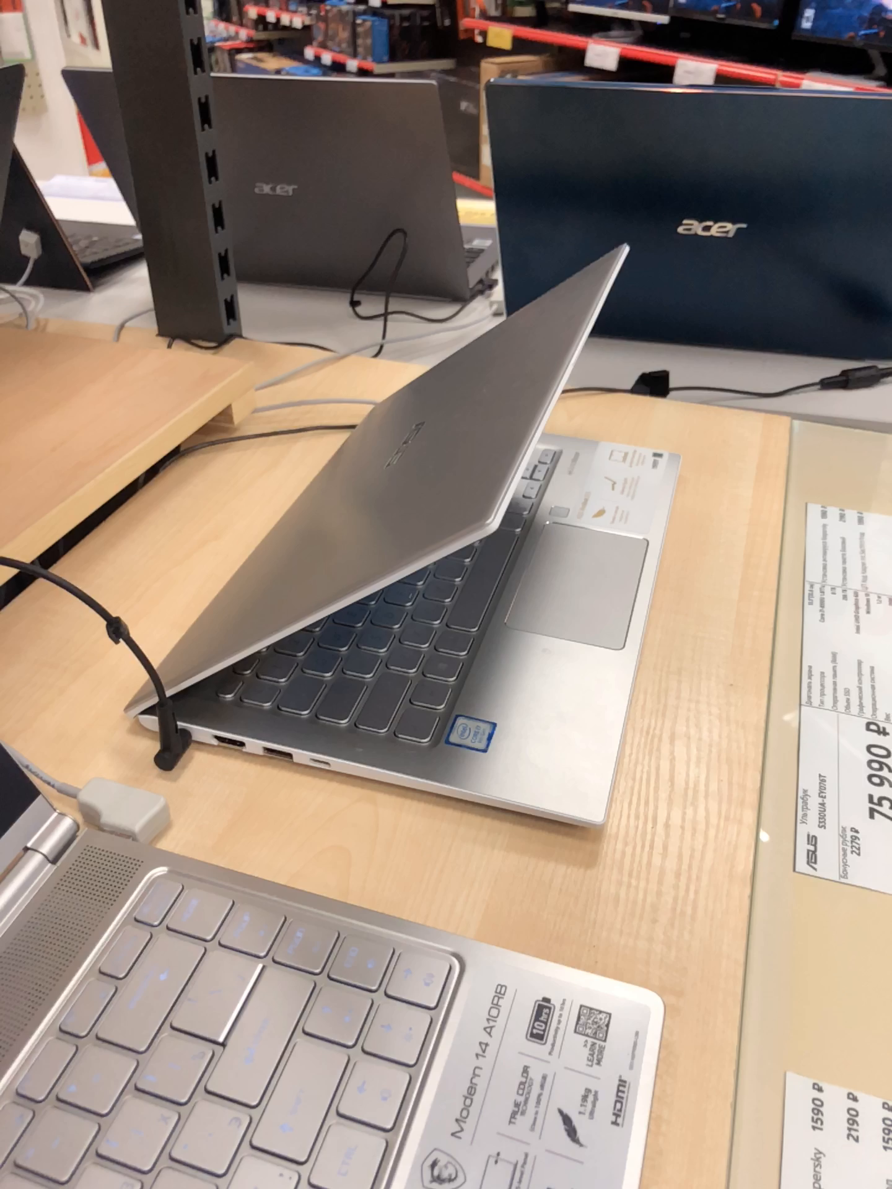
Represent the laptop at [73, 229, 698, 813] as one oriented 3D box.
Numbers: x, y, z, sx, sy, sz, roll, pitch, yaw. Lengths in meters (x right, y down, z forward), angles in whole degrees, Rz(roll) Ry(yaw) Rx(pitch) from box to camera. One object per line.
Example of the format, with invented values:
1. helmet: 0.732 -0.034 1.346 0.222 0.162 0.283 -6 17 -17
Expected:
1. laptop: 0.004 -0.069 0.487 0.197 0.119 0.310 10 36 13
